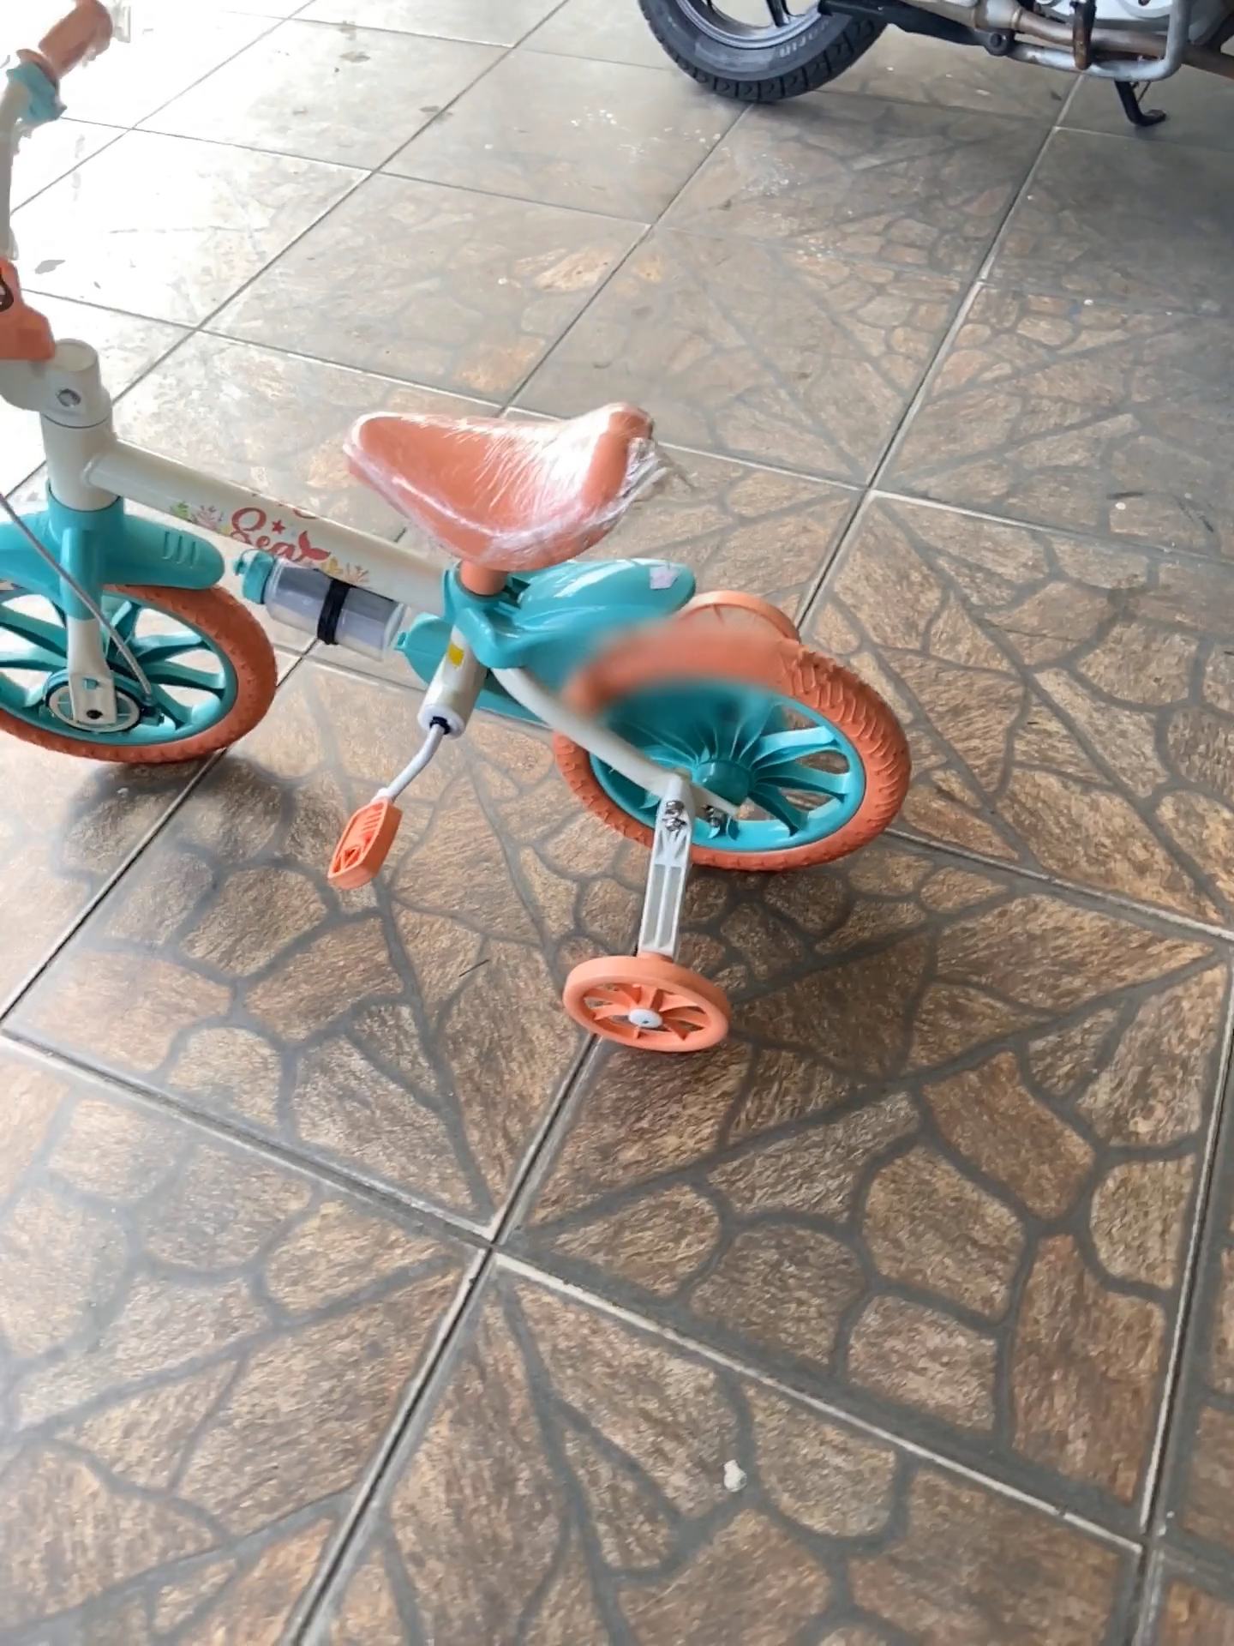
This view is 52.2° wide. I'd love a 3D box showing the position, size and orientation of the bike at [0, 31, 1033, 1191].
[{"bbox_3d":[-0.189,-0.139,0.889,0.806,0.534,0.501,8,53,7],"label":"bike"}]
